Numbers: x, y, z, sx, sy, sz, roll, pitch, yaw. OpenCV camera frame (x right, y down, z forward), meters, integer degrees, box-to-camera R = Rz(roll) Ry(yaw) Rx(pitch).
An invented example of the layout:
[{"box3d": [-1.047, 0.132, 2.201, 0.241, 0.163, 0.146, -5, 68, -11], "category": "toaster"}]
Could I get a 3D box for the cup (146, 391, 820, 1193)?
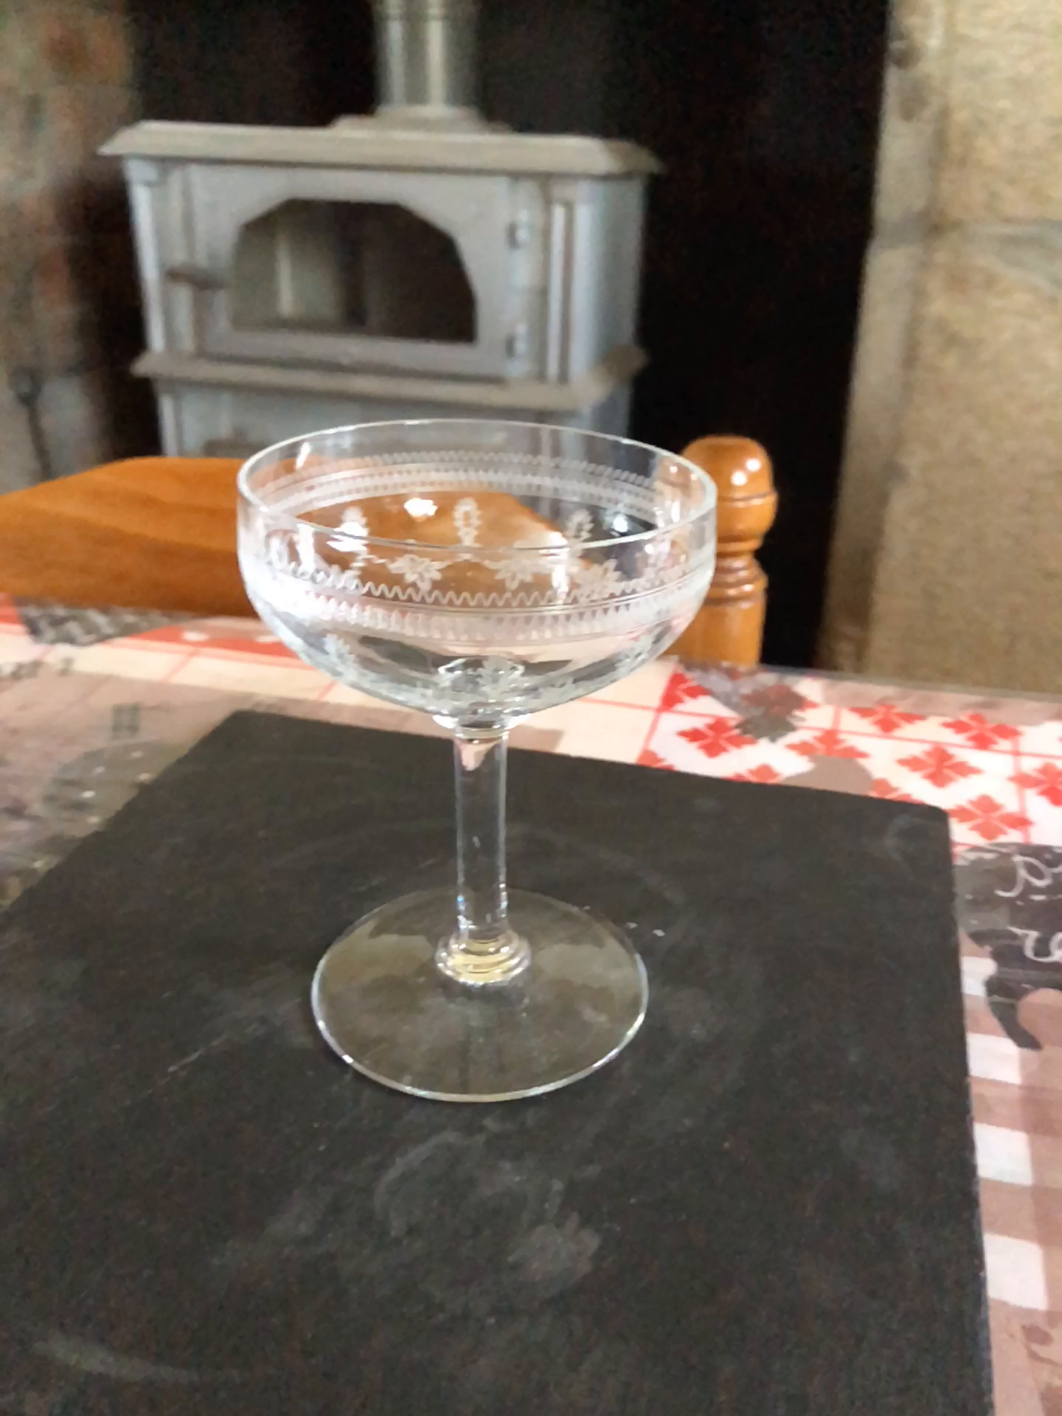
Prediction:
[{"box3d": [-0.007, 0.006, 0.246, 0.090, 0.119, 0.091, 1, 24, 0], "category": "cup"}]
